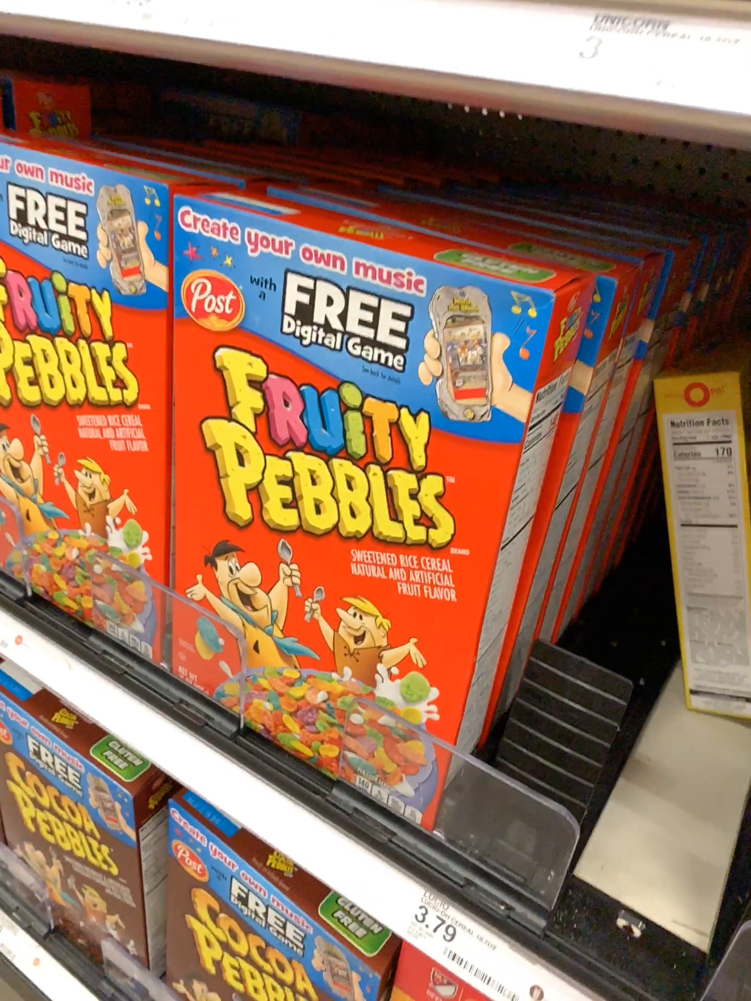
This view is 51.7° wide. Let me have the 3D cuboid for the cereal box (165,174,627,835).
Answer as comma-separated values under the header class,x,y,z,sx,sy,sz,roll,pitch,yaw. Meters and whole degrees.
class,x,y,z,sx,sy,sz,roll,pitch,yaw
cereal box,-0.015,0.003,0.403,0.200,0.288,0.060,23,32,26
